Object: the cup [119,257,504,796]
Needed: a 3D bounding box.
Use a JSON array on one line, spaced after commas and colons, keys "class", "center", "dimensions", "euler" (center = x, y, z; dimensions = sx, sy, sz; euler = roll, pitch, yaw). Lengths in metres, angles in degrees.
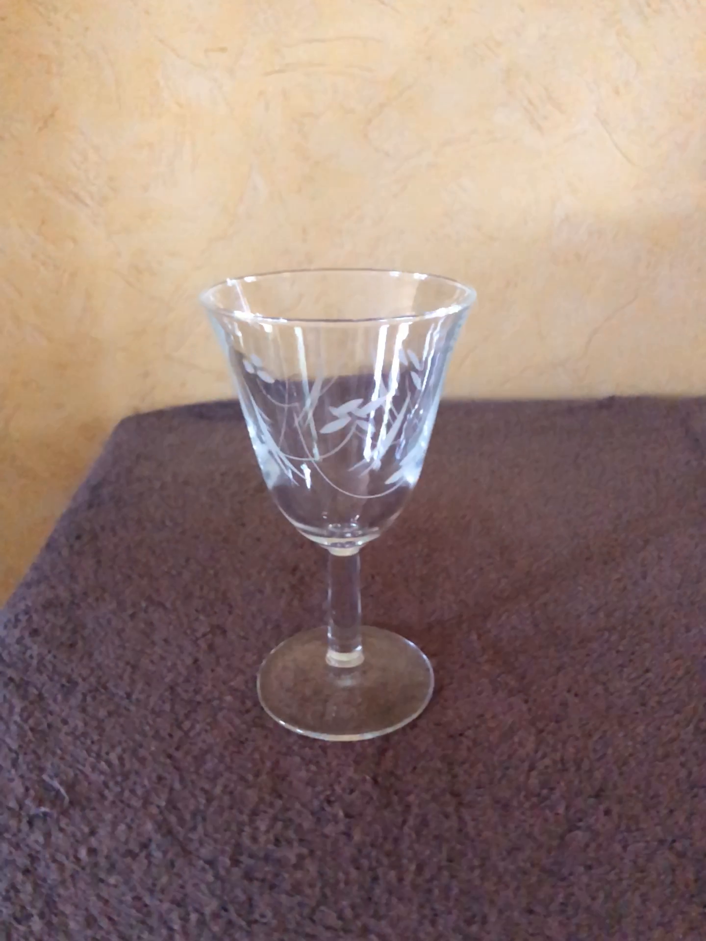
[{"class": "cup", "center": [-0.005, 0.011, 0.272], "dimensions": [0.090, 0.149, 0.091], "euler": [-1, 23, 1]}]
